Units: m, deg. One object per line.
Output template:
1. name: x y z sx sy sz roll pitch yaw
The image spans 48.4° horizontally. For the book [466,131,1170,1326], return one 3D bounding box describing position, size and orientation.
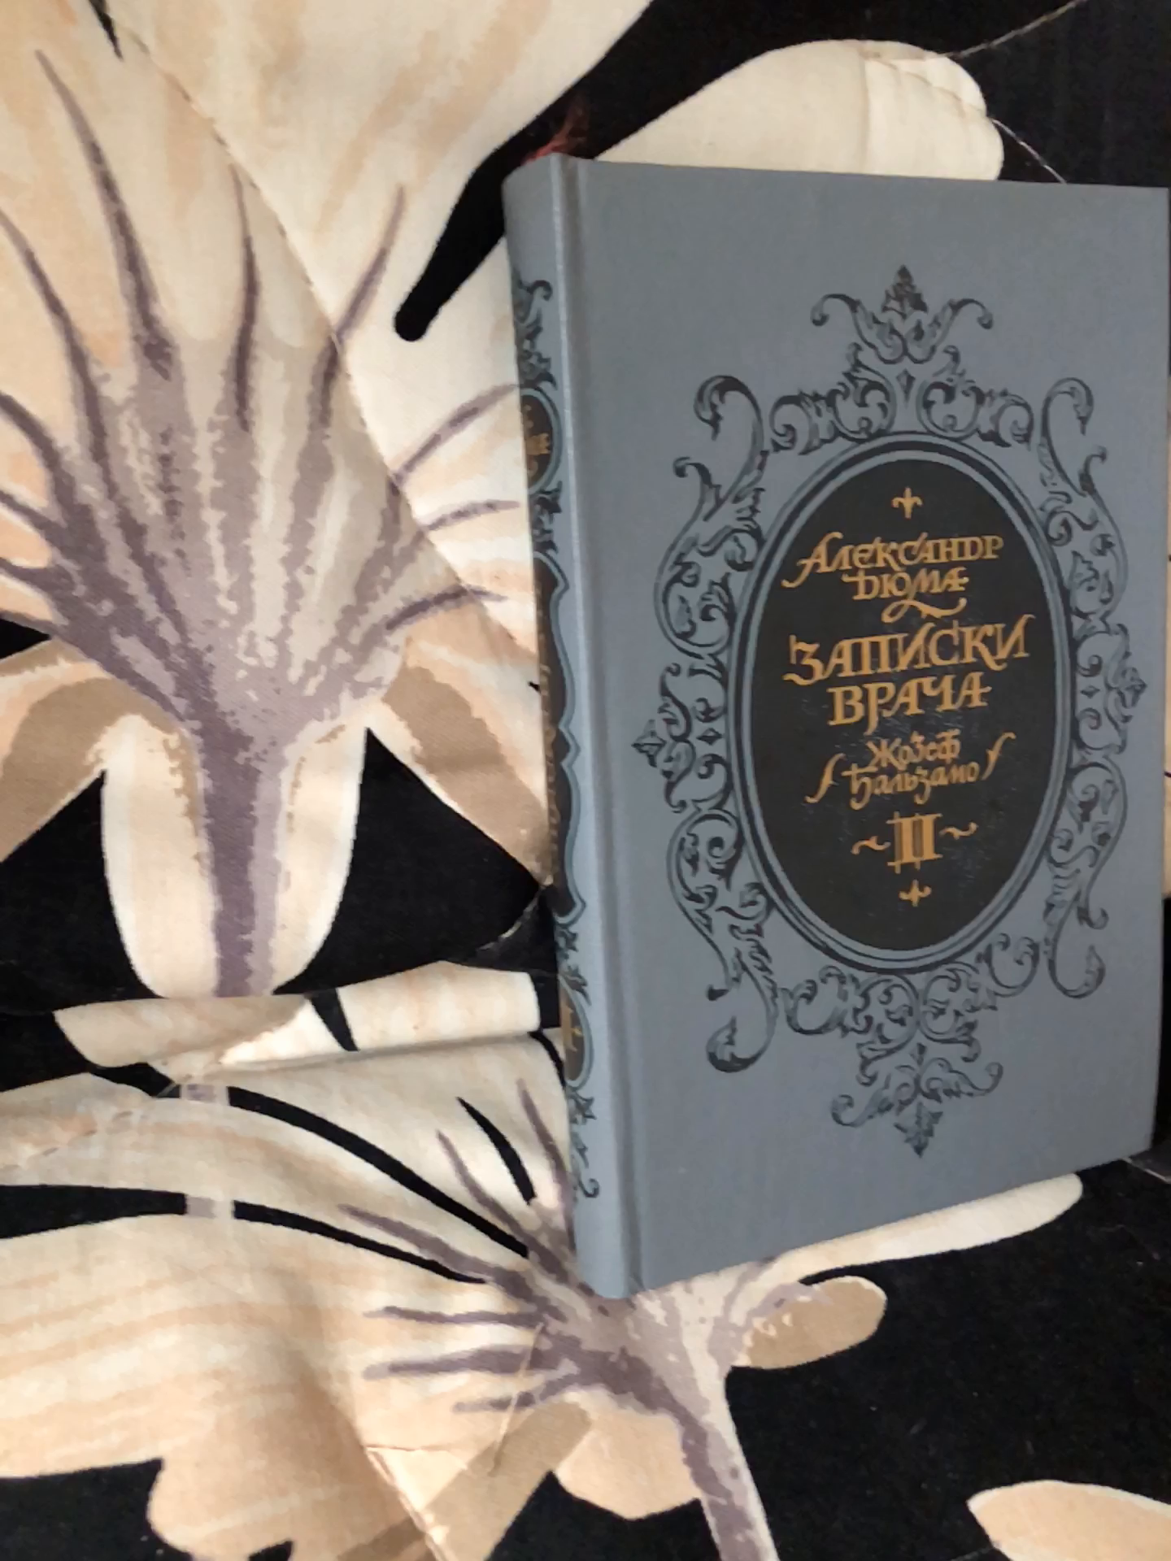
1. book: 0.055 -0.012 0.267 0.140 0.030 0.210 -7 99 -22
